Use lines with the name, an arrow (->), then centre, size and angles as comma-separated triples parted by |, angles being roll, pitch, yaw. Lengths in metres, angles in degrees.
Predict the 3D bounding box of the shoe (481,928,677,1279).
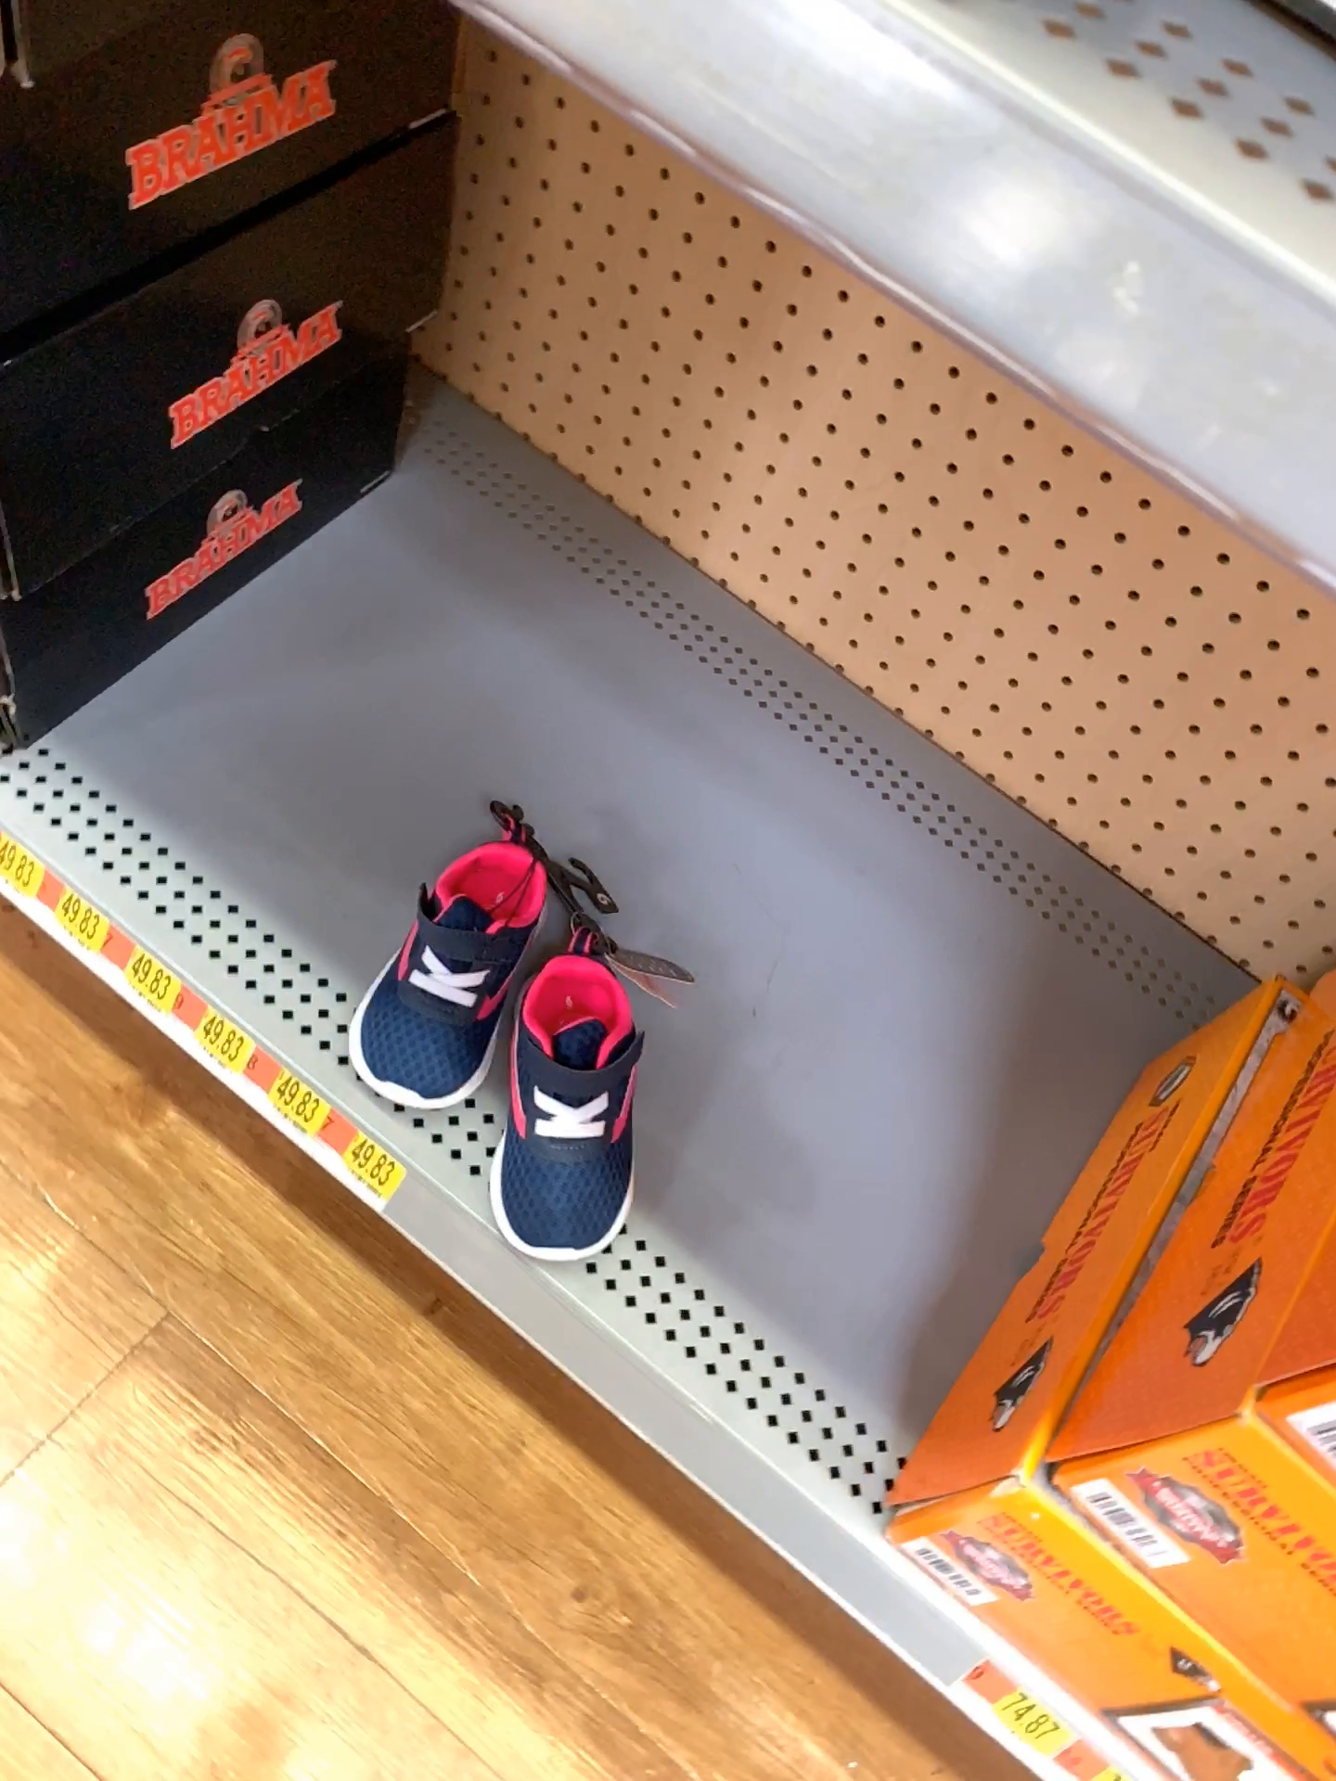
shoe -> -0.042, 0.102, 0.657 | 0.073, 0.064, 0.146 | 9, 58, -11

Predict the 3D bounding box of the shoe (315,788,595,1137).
shoe -> -0.104, 0.034, 0.679 | 0.073, 0.064, 0.146 | 26, 56, 0
